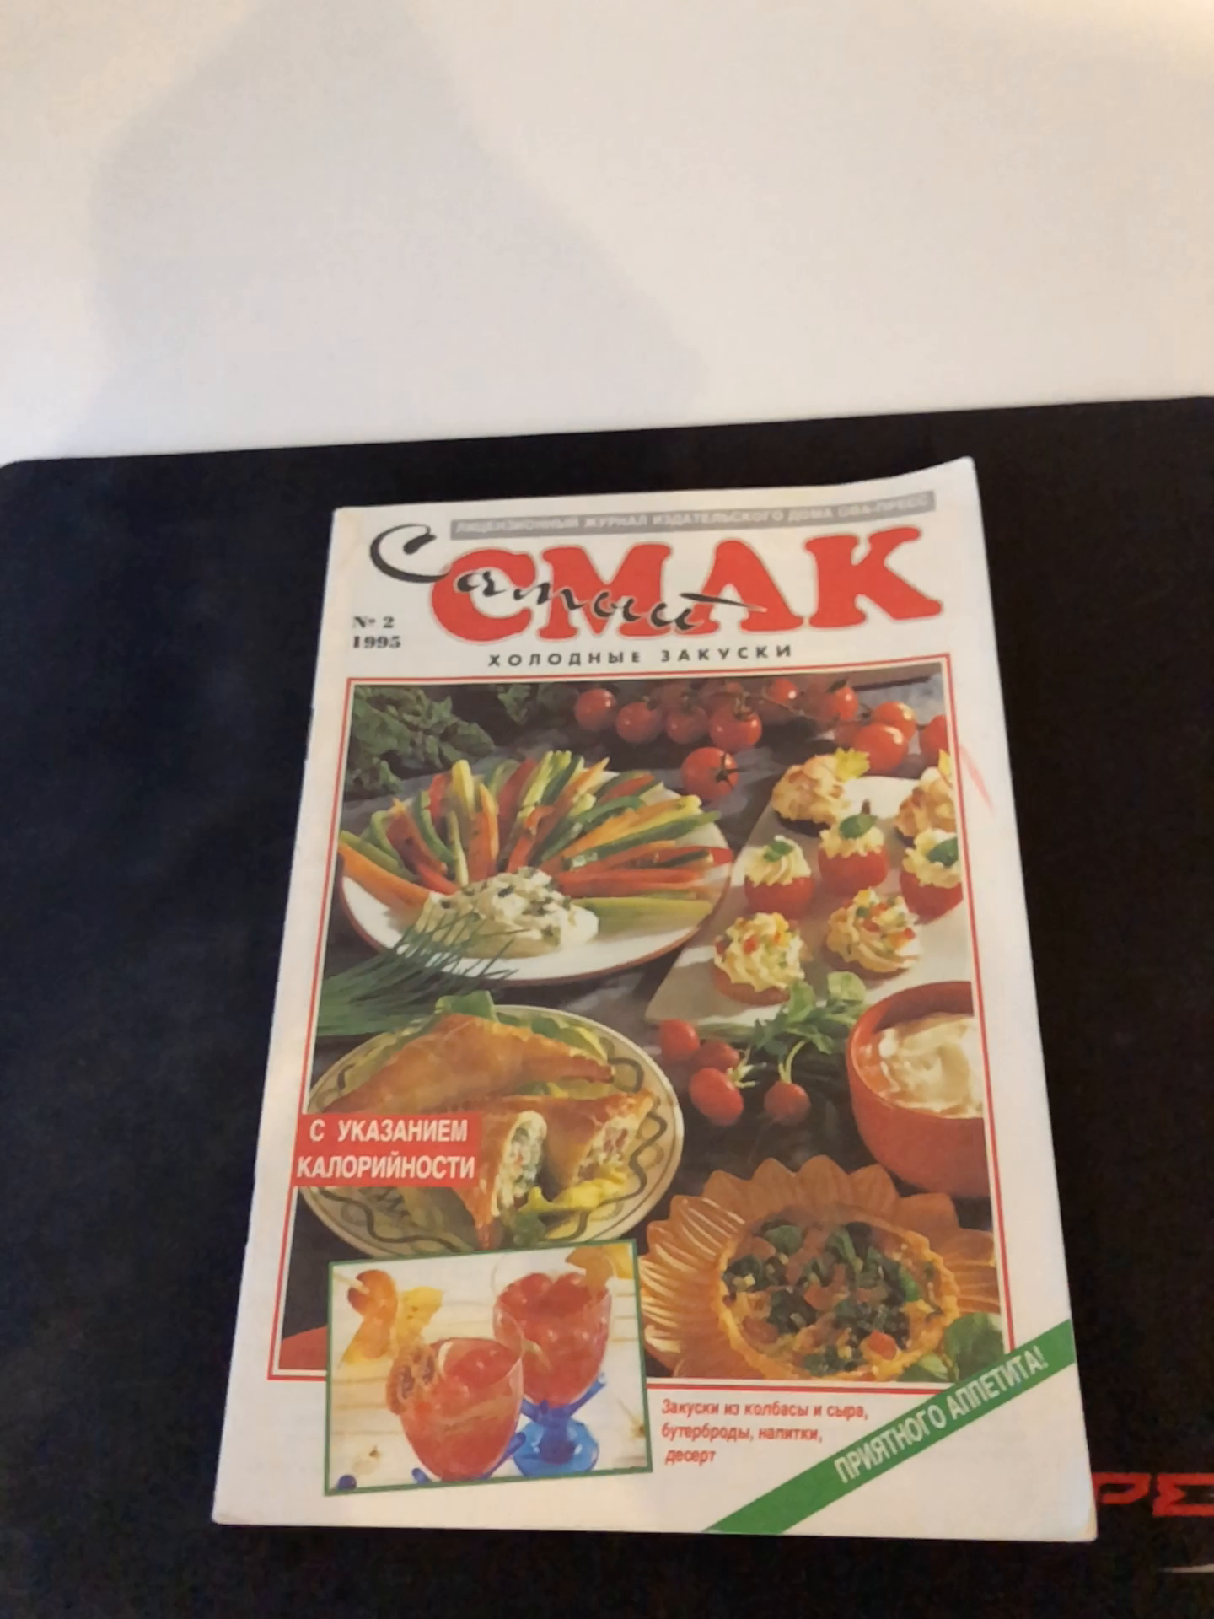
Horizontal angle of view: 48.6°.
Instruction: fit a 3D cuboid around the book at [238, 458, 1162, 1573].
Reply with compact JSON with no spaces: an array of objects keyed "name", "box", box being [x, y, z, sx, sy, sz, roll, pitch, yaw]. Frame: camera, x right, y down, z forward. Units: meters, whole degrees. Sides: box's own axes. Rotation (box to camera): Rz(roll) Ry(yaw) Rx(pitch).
[{"name":"book","box":[0.015,0.027,0.284,0.160,0.010,0.231,-2,66,6]}]
